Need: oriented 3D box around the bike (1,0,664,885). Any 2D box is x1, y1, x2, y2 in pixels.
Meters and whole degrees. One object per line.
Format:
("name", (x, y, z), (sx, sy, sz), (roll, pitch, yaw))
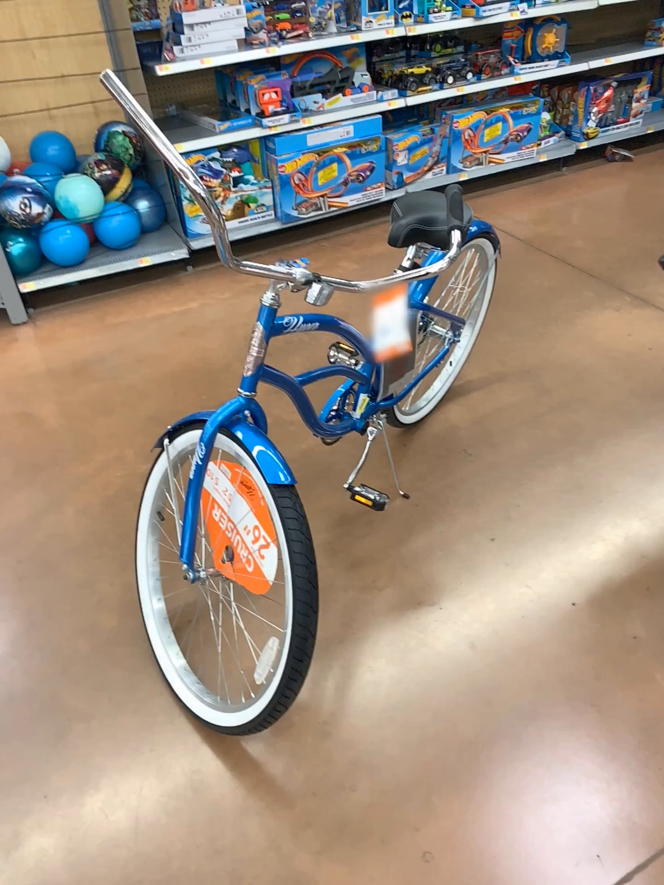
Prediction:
("bike", (0.252, -0.276, 1.591), (0.875, 1.208, 1.535), (14, 43, 21))
